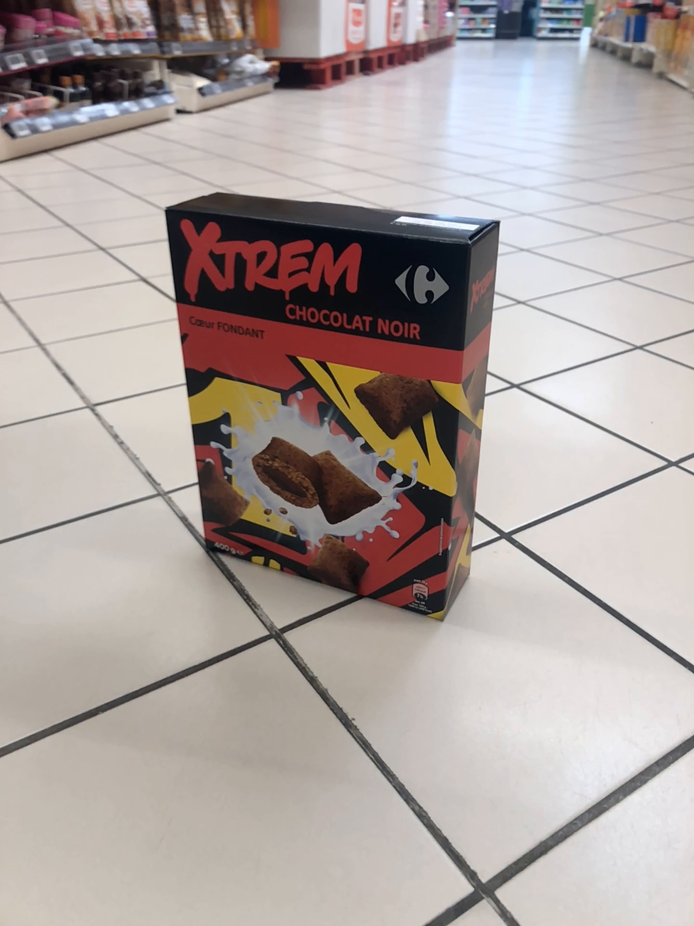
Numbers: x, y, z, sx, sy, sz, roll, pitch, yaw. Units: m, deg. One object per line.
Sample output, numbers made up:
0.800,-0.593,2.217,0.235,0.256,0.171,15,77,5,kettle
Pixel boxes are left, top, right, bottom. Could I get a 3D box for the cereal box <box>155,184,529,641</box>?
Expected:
-0.006,-0.034,0.490,0.200,0.249,0.070,14,32,23,cereal box
